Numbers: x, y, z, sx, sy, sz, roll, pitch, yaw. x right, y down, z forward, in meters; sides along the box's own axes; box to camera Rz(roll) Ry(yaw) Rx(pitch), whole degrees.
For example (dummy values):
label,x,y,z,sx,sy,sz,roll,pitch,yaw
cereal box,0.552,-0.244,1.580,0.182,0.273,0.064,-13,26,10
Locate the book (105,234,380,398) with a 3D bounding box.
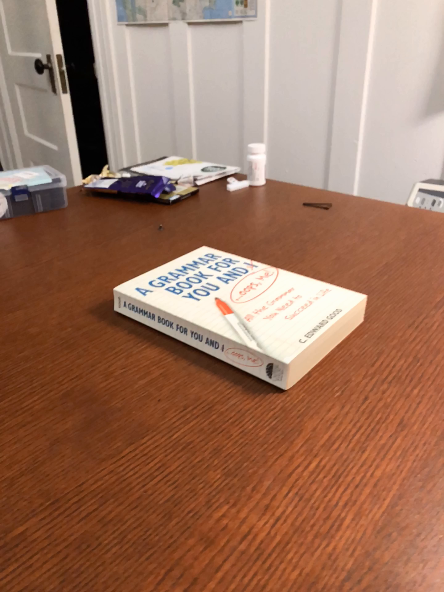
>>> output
label,x,y,z,sx,sy,sz,roll,pitch,yaw
book,0.020,0.002,0.534,0.240,0.040,0.171,20,35,34
